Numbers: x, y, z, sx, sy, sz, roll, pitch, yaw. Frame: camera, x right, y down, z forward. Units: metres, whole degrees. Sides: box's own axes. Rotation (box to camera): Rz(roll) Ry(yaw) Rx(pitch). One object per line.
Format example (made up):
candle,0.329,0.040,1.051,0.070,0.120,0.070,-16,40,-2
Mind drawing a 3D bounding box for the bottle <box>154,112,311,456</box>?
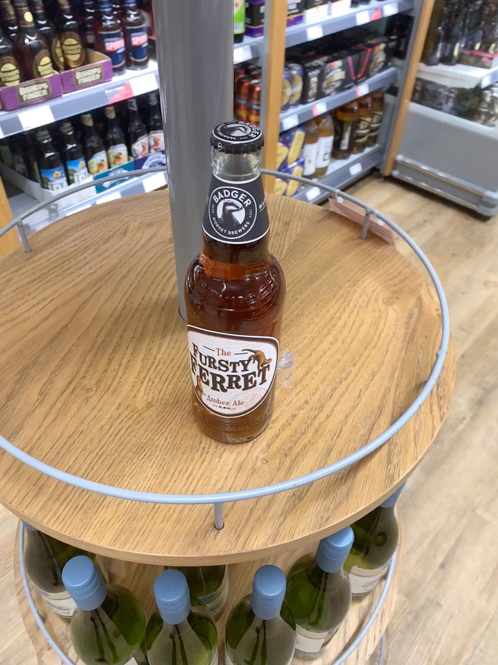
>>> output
bottle,-0.009,-0.017,0.354,0.069,0.231,0.076,10,45,7
